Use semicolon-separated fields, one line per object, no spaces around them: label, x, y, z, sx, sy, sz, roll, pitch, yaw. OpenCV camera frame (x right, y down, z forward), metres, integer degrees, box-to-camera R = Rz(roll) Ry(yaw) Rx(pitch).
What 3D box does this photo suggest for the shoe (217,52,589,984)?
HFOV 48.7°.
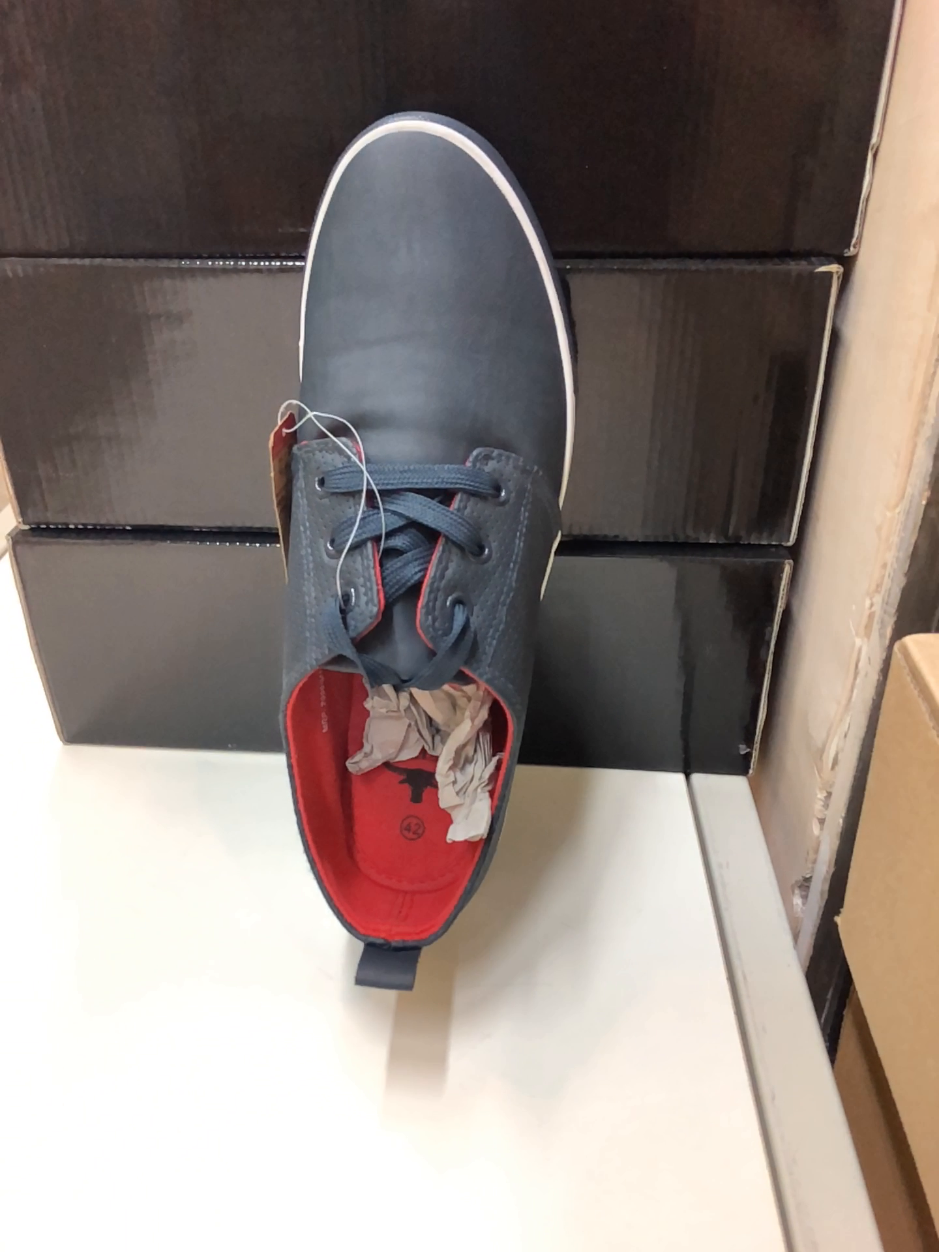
shoe;-0.017;-0.033;0.359;0.103;0.269;0.101;2;6;10
